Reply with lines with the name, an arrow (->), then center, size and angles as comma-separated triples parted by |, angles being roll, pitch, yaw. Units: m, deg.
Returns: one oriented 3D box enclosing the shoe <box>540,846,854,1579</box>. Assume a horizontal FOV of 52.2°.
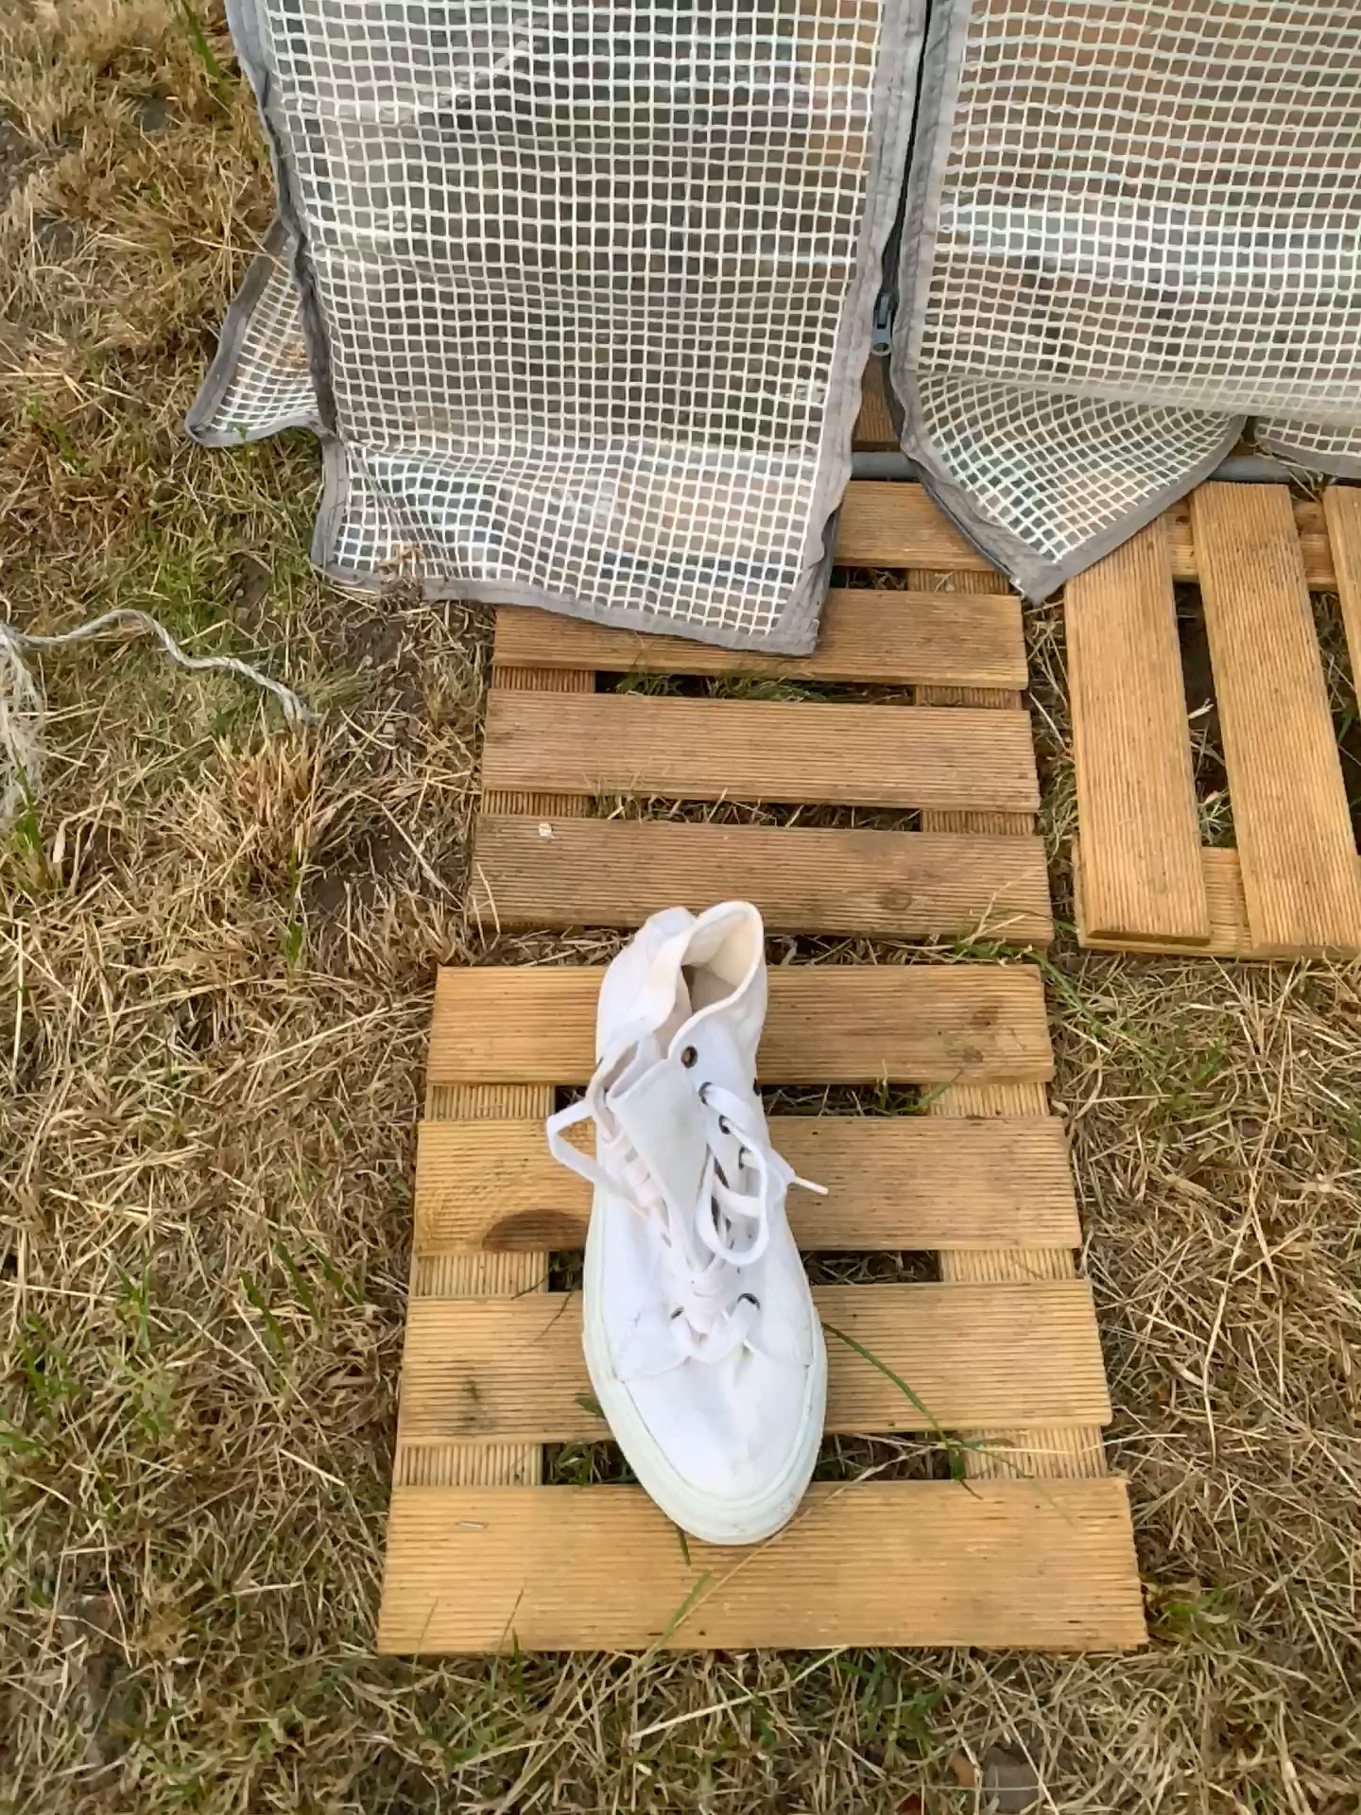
shoe -> 0.008, 0.119, 0.570 | 0.100, 0.129, 0.262 | 2, 55, 0
